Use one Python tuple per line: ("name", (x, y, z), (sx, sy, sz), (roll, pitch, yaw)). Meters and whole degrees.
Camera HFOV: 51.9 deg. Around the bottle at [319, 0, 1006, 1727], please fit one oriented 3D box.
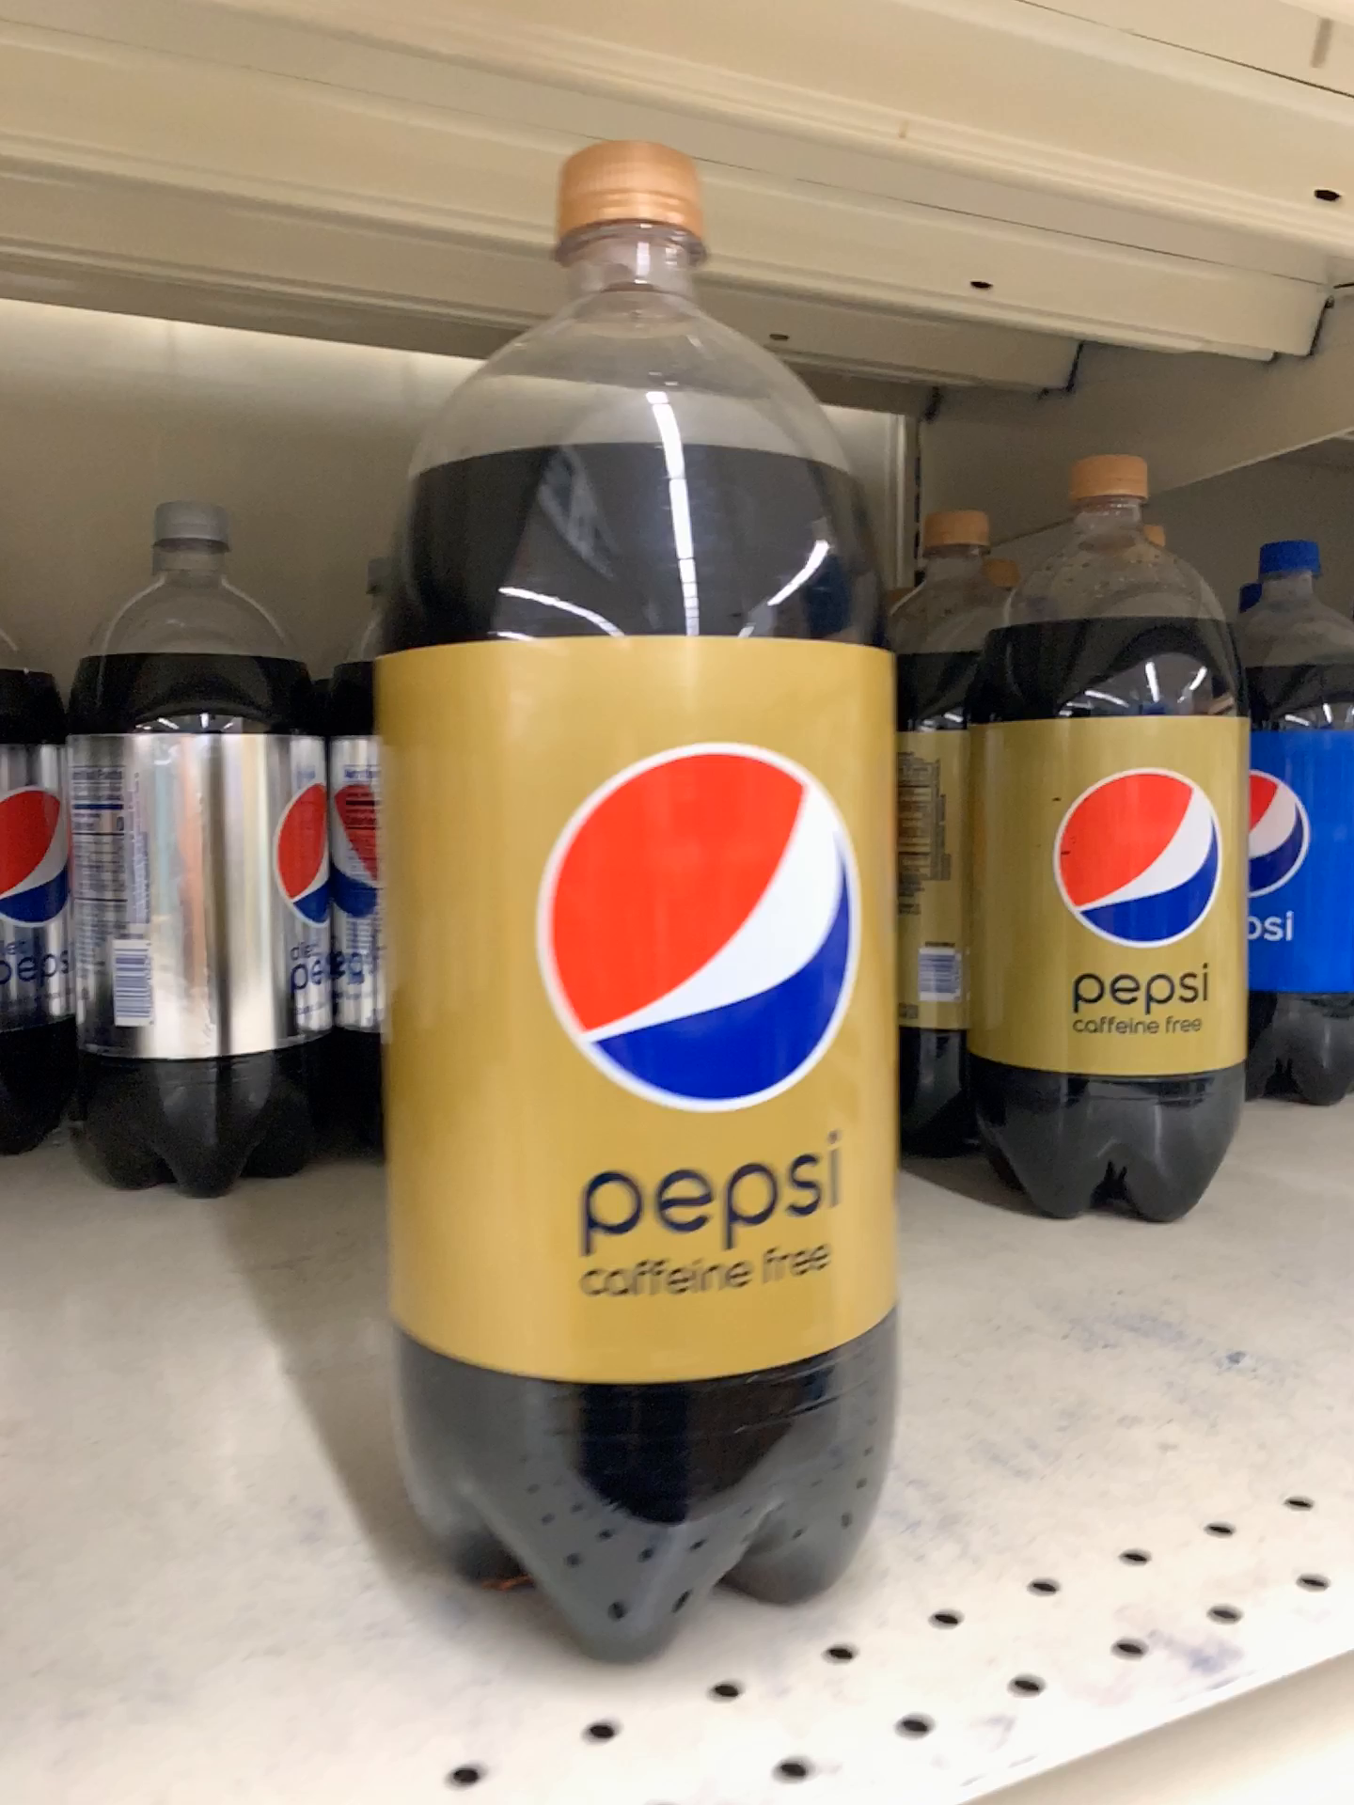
("bottle", (-0.010, -0.017, 0.294), (0.110, 0.300, 0.110), (0, 4, 0))
